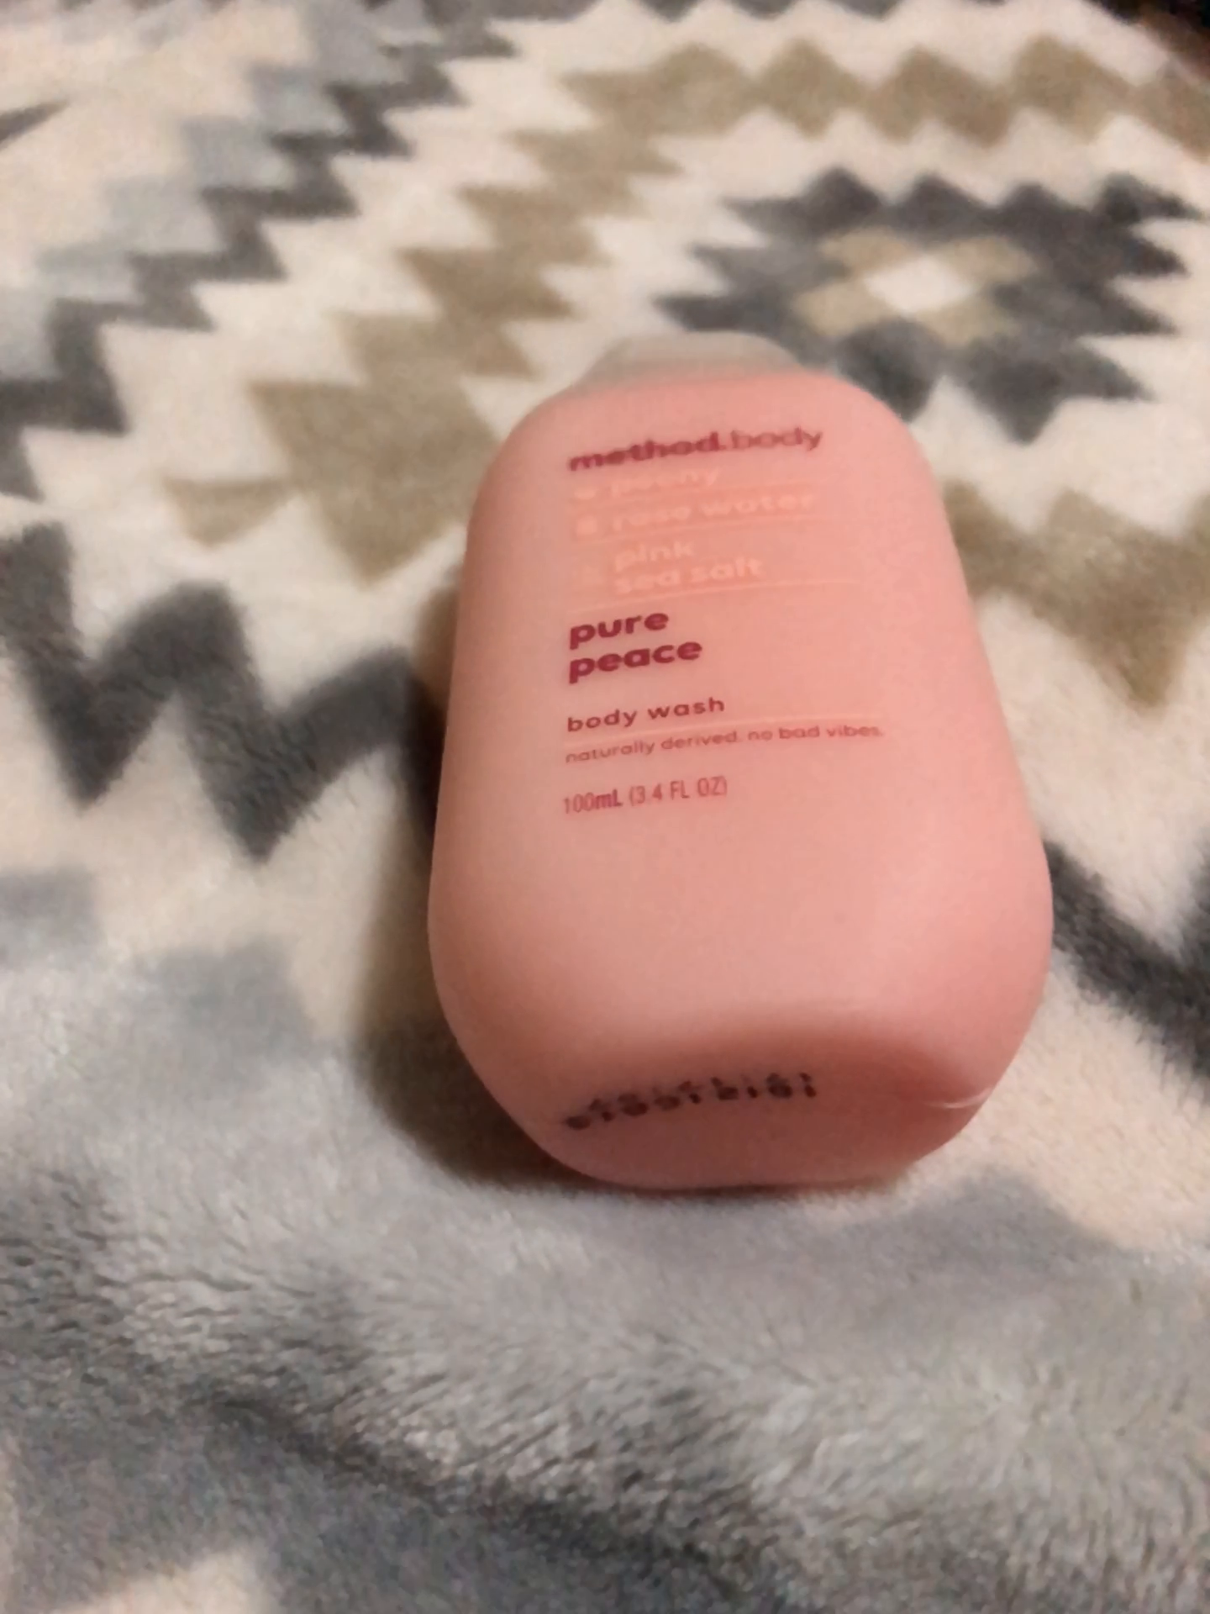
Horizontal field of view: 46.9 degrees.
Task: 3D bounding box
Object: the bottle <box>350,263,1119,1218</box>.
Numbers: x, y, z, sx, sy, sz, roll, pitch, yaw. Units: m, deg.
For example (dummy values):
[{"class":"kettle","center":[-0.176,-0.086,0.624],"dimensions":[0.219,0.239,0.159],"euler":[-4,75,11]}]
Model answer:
[{"class":"bottle","center":[0.011,-0.015,0.150],"dimensions":[0.057,0.030,0.110],"euler":[-2,49,5]}]
